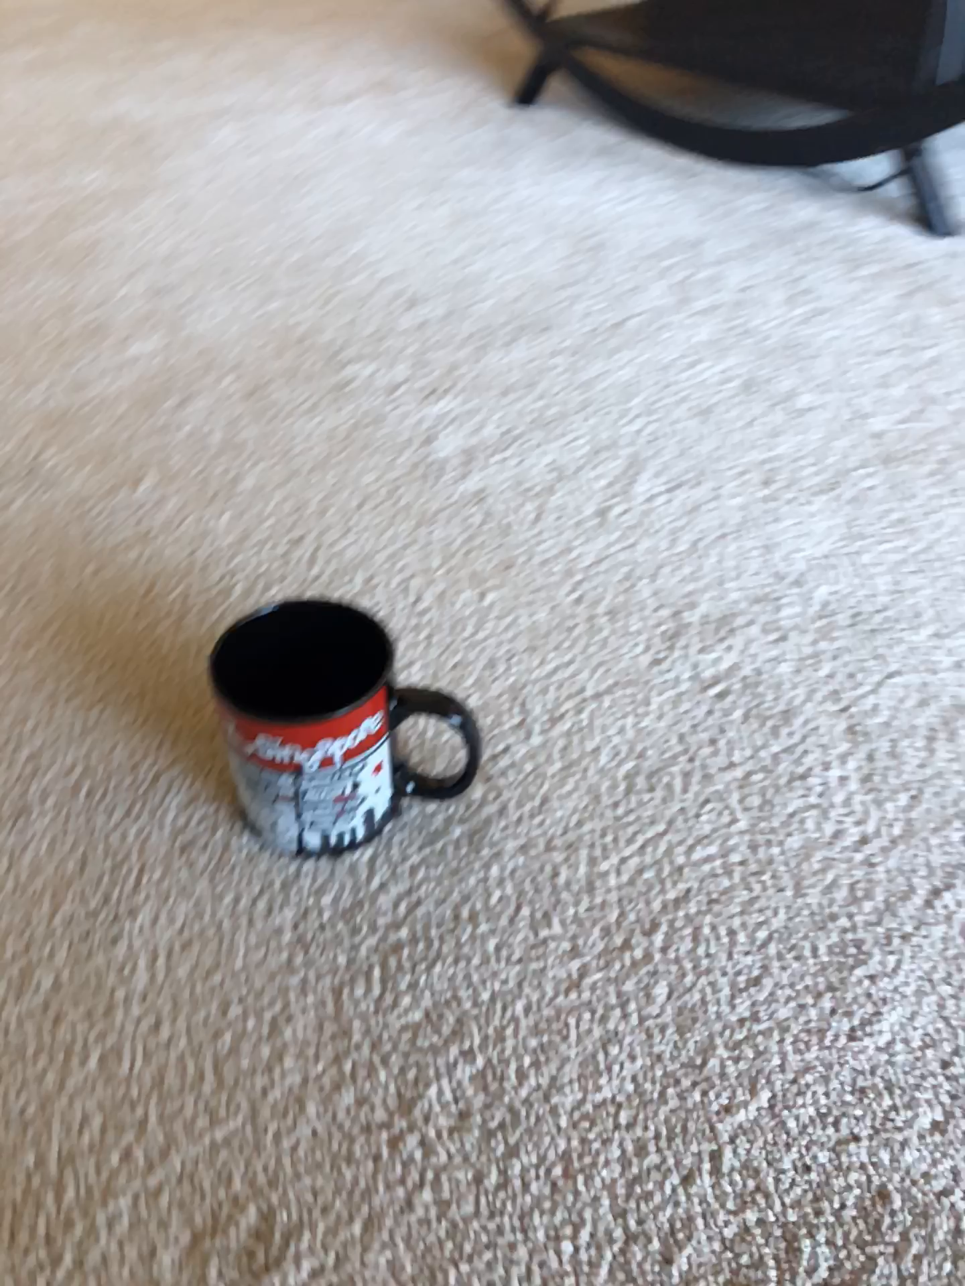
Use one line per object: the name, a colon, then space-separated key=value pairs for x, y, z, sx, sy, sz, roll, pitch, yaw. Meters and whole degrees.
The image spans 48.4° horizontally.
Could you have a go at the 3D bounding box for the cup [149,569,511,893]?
cup: x=-0.060 y=0.037 z=0.483 sx=0.130 sy=0.090 sz=0.090 roll=8 pitch=42 yaw=11
